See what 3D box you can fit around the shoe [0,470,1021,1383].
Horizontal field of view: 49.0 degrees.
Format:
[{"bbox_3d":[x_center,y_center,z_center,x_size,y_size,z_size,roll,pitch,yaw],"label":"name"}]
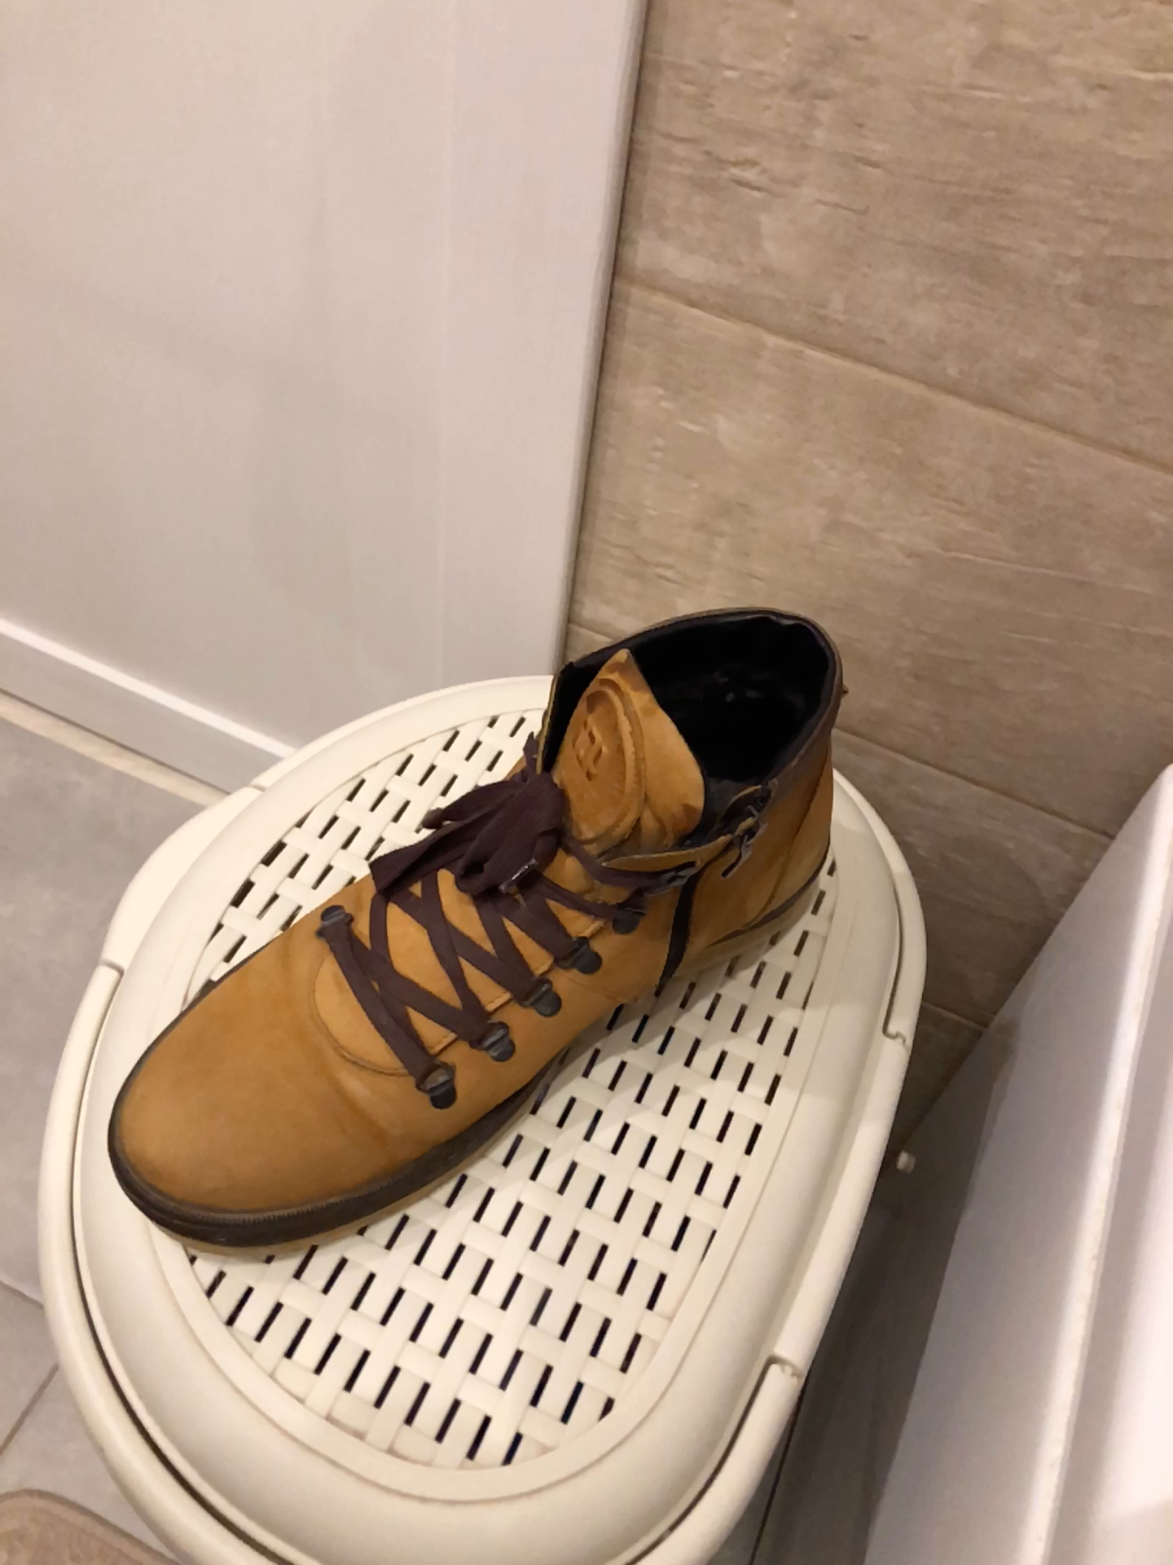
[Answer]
[{"bbox_3d":[-0.022,0.041,0.429,0.291,0.169,0.110,-28,61,-25],"label":"shoe"}]
